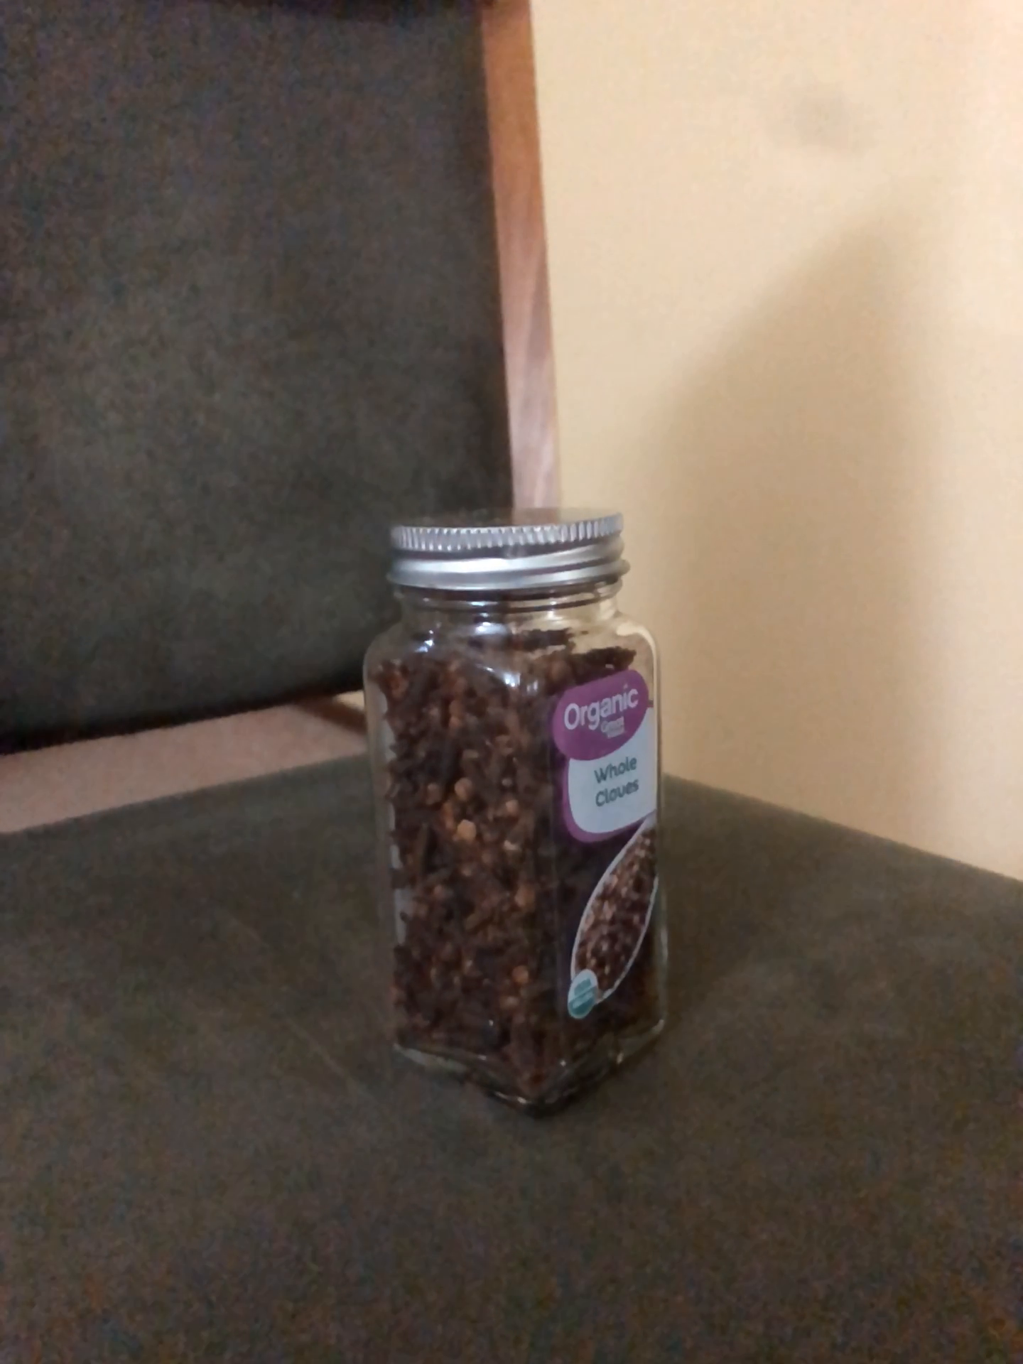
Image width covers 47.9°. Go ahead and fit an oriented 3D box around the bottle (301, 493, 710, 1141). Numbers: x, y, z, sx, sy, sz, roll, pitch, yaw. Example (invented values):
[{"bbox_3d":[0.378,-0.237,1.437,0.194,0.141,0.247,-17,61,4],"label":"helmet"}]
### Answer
[{"bbox_3d":[0.001,0.018,0.212,0.050,0.100,0.050,-2,13,1],"label":"bottle"}]
